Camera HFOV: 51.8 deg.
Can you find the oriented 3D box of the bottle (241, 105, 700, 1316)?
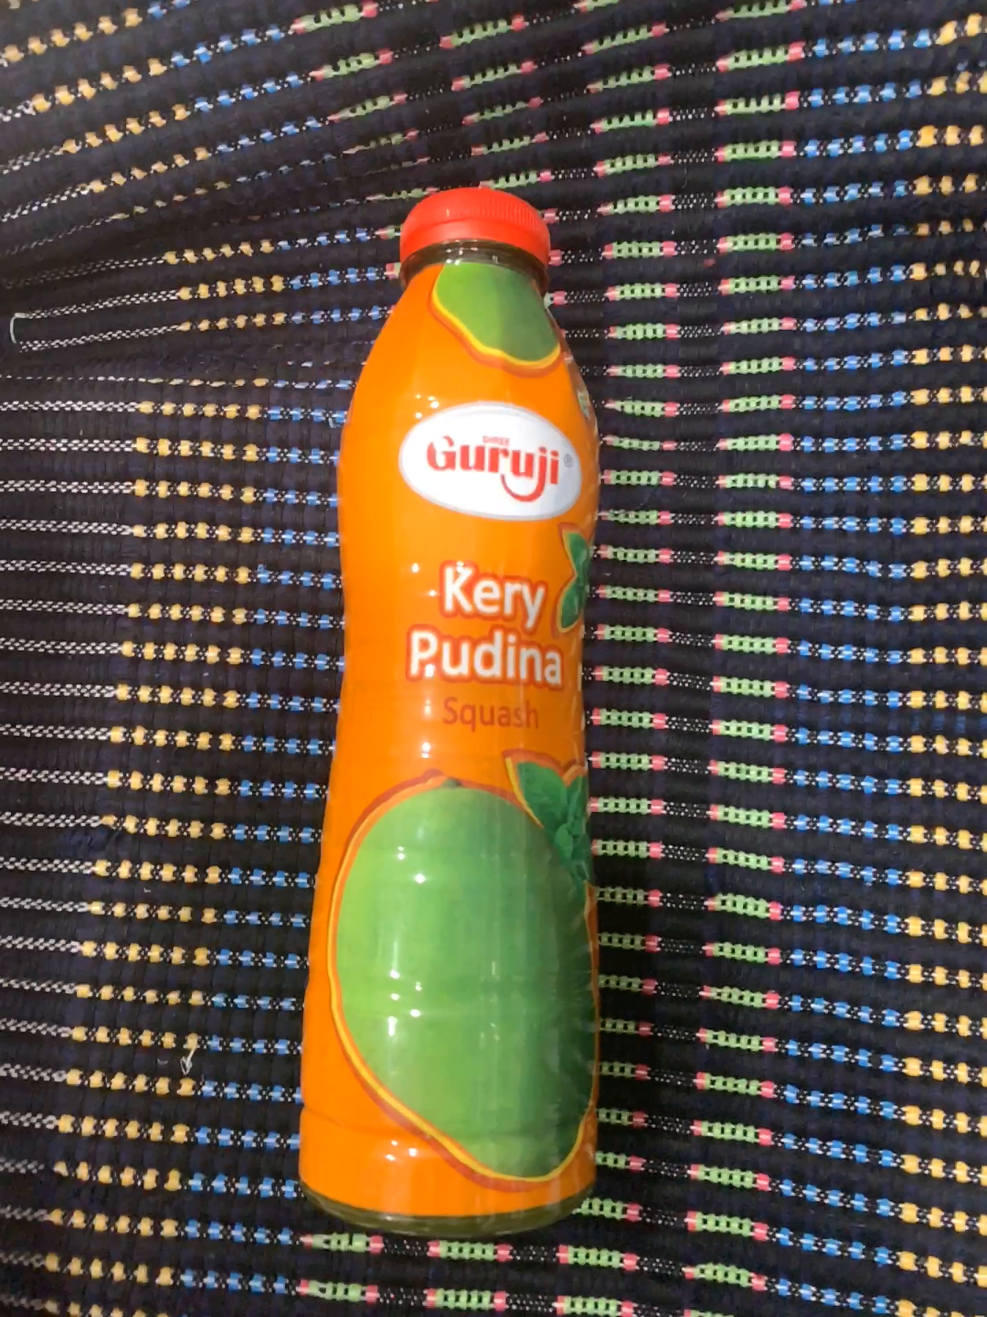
[{"bbox_3d":[-0.001,0.007,0.240,0.070,0.070,0.230,11,77,-41],"label":"bottle"}]
